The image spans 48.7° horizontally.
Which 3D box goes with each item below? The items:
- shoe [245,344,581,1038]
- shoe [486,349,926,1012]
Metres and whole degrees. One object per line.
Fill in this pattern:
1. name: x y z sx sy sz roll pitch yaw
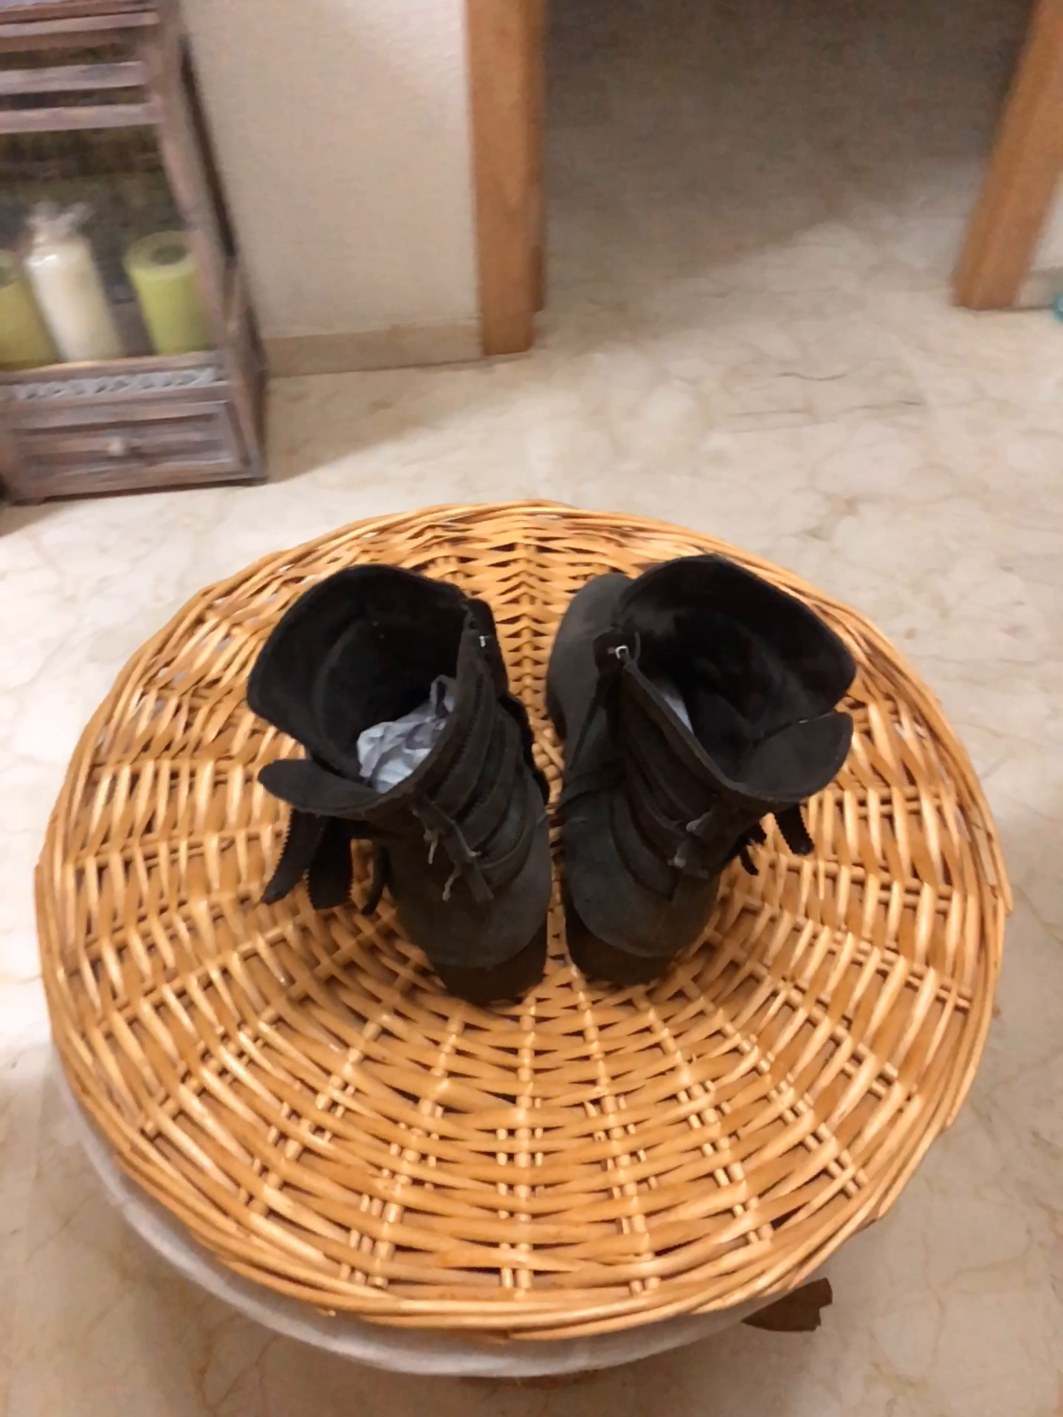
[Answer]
1. shoe: -0.057 -0.012 0.544 0.110 0.169 0.261 -8 54 -5
2. shoe: 0.058 -0.019 0.557 0.110 0.169 0.261 -4 53 -11
